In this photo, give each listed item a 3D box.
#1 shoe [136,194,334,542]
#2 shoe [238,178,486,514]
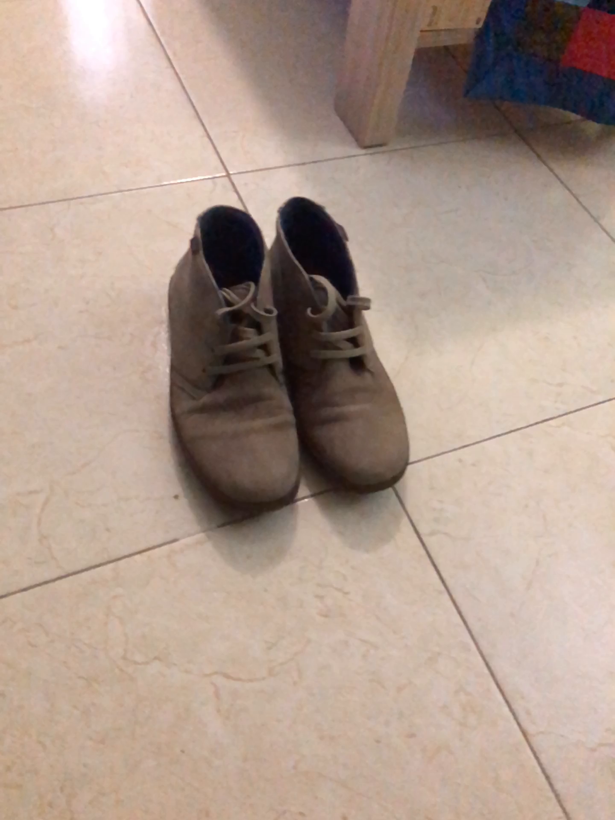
[{"bbox_3d":[-0.075,-0.047,0.600,0.110,0.120,0.281,-8,58,-14],"label":"shoe"},{"bbox_3d":[0.031,-0.068,0.624,0.120,0.120,0.281,-10,58,-16],"label":"shoe"}]
